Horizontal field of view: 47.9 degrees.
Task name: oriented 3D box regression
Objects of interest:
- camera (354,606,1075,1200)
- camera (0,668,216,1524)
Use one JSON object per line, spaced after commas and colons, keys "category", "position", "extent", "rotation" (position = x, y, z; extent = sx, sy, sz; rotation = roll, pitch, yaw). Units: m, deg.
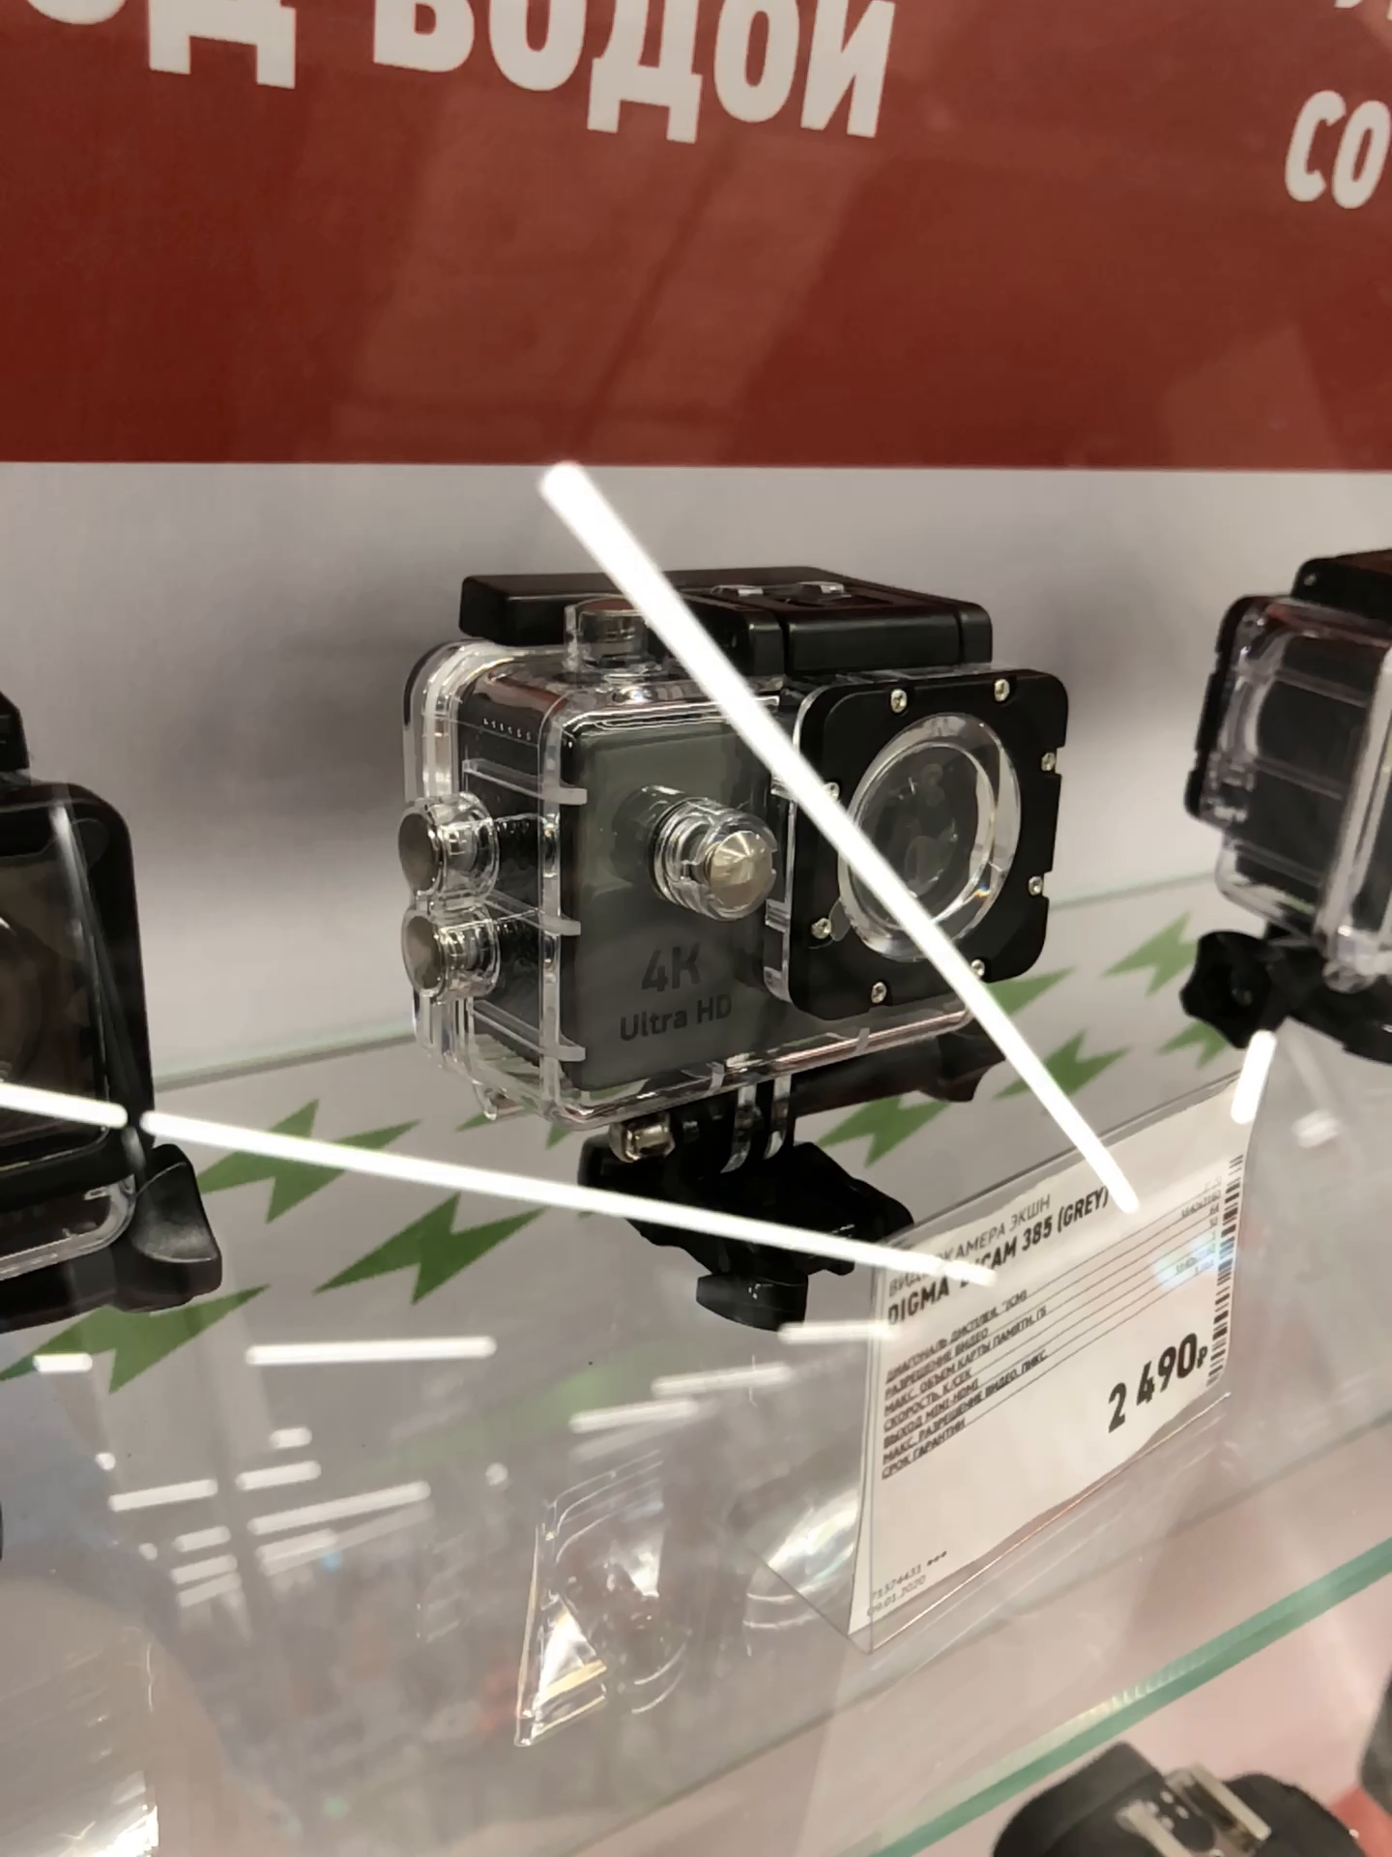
{"category": "camera", "position": [0.002, -0.009, 0.204], "extent": [0.077, 0.055, 0.048], "rotation": [-11, 24, -33]}
{"category": "camera", "position": [-0.083, 0.006, 0.130], "extent": [0.072, 0.046, 0.036], "rotation": [-13, 21, -37]}
